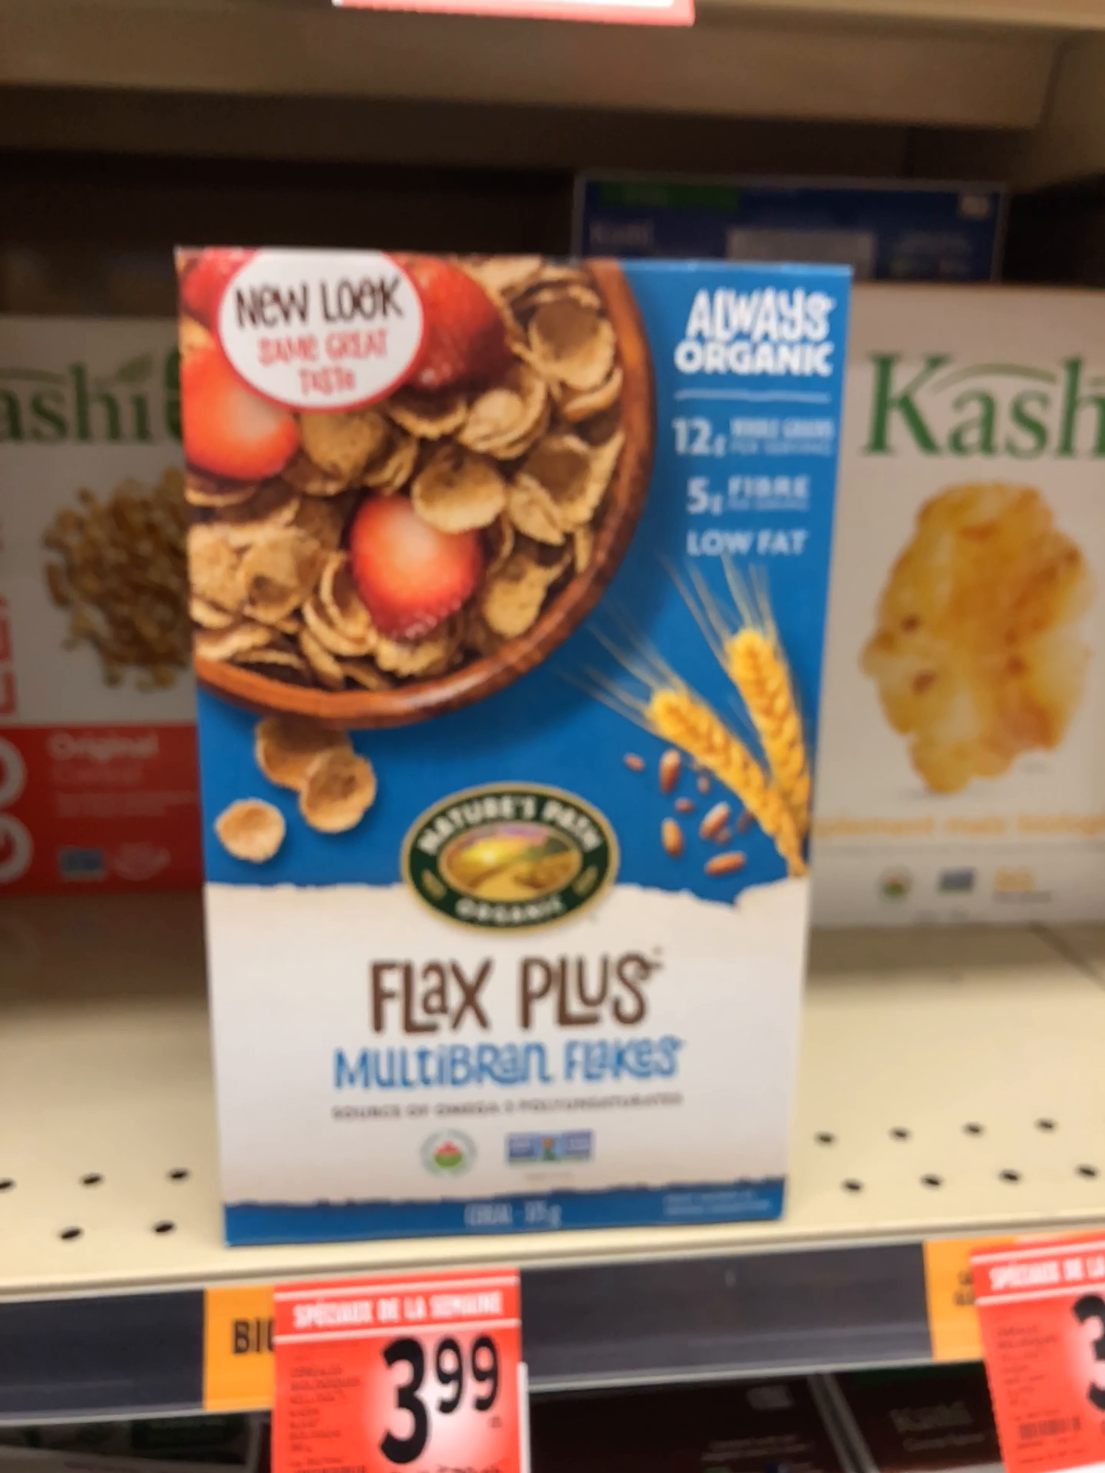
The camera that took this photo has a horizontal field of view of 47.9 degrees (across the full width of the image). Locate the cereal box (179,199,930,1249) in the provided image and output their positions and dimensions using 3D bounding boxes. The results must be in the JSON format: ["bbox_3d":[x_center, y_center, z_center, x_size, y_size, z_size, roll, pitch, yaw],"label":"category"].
[{"bbox_3d":[-0.003,0.001,0.349,0.170,0.269,0.070,0,15,-5],"label":"cereal box"}]
